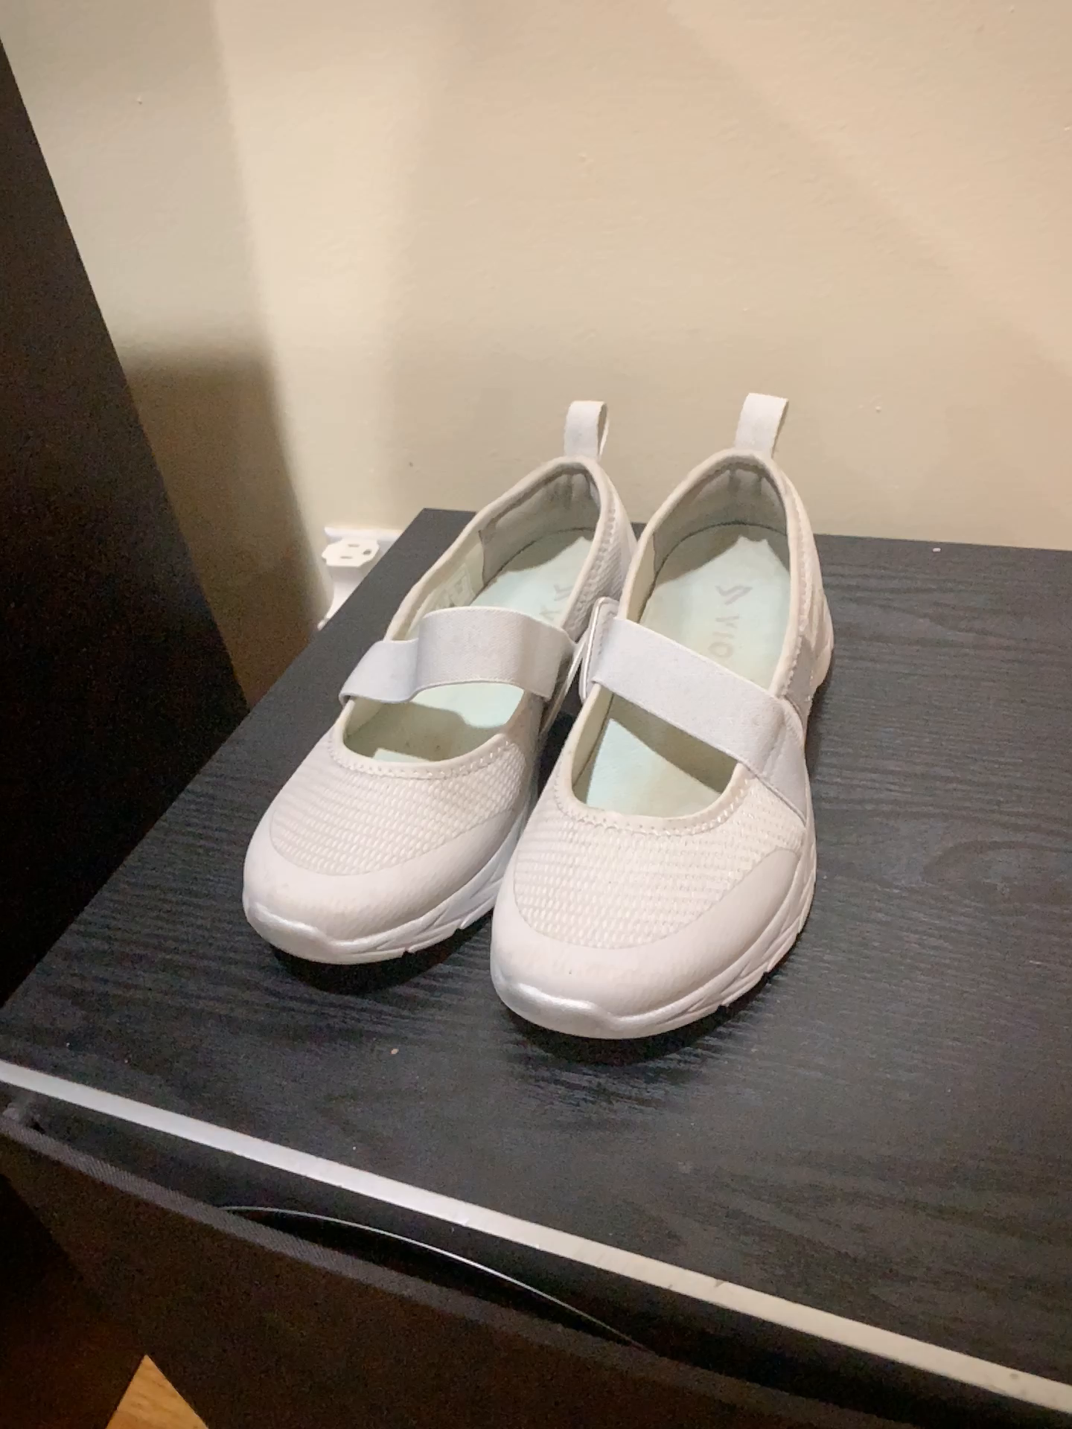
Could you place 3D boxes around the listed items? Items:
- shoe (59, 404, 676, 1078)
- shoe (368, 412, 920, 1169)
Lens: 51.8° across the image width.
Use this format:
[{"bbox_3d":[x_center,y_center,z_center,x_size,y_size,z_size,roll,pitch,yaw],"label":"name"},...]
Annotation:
[{"bbox_3d":[-0.034,-0.014,0.403,0.102,0.093,0.251,8,42,21],"label":"shoe"},{"bbox_3d":[0.056,-0.001,0.369,0.102,0.093,0.251,8,42,21],"label":"shoe"}]
